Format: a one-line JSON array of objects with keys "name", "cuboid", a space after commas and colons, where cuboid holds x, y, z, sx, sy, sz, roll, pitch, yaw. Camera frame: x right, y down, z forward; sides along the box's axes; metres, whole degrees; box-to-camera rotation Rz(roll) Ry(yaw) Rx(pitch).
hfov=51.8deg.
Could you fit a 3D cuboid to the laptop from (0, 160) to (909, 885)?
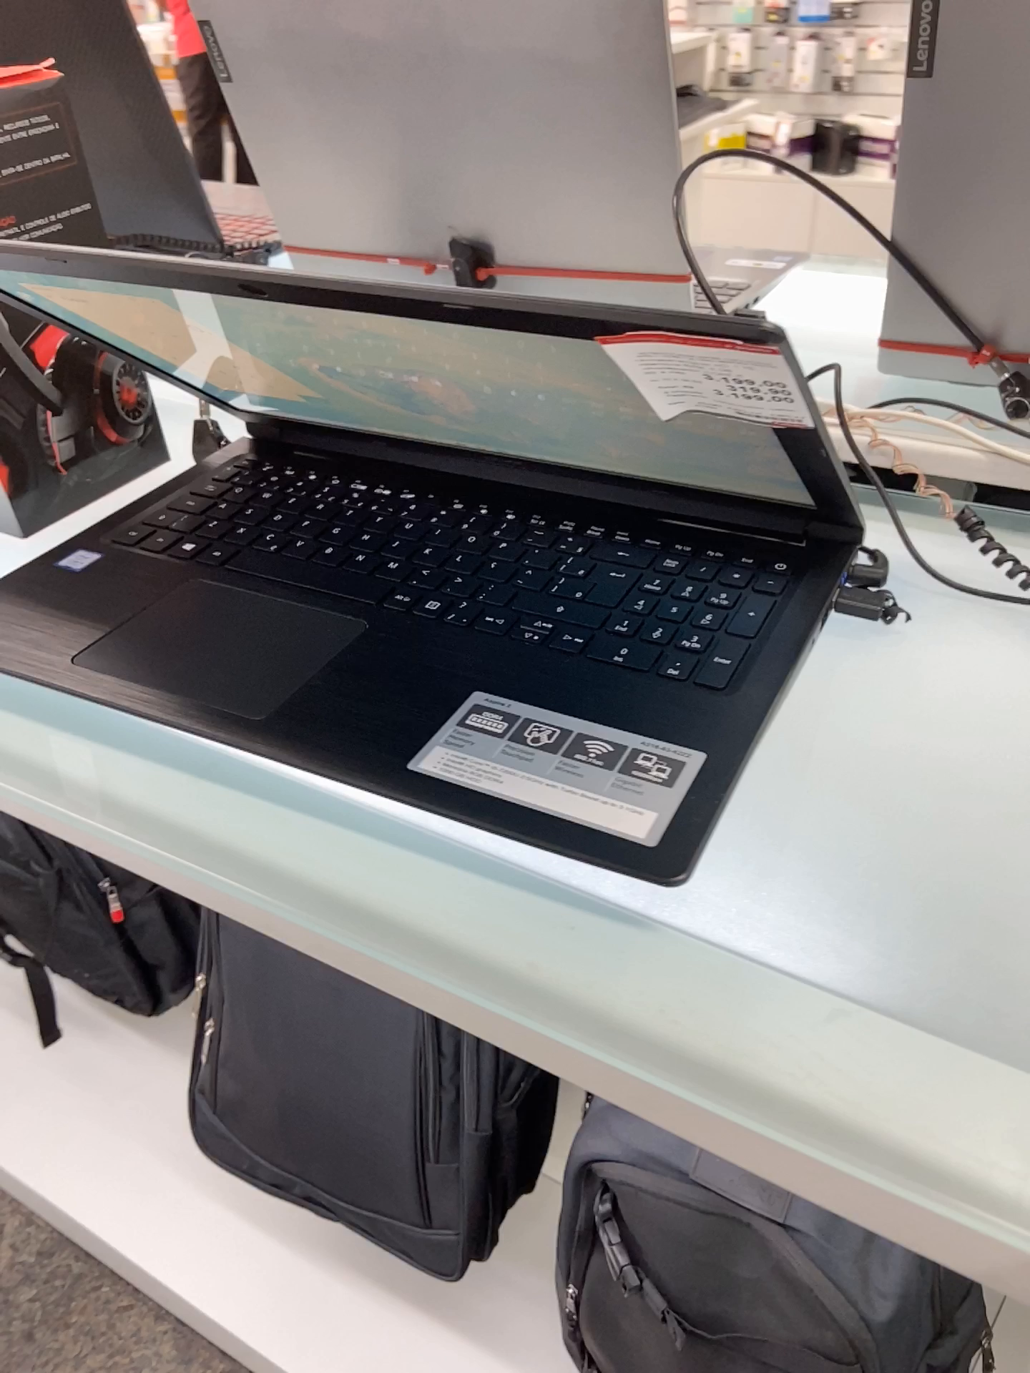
[{"name": "laptop", "cuboid": [-0.061, -0.108, 0.451, 0.370, 0.157, 0.240, 15, 40, 24]}]
